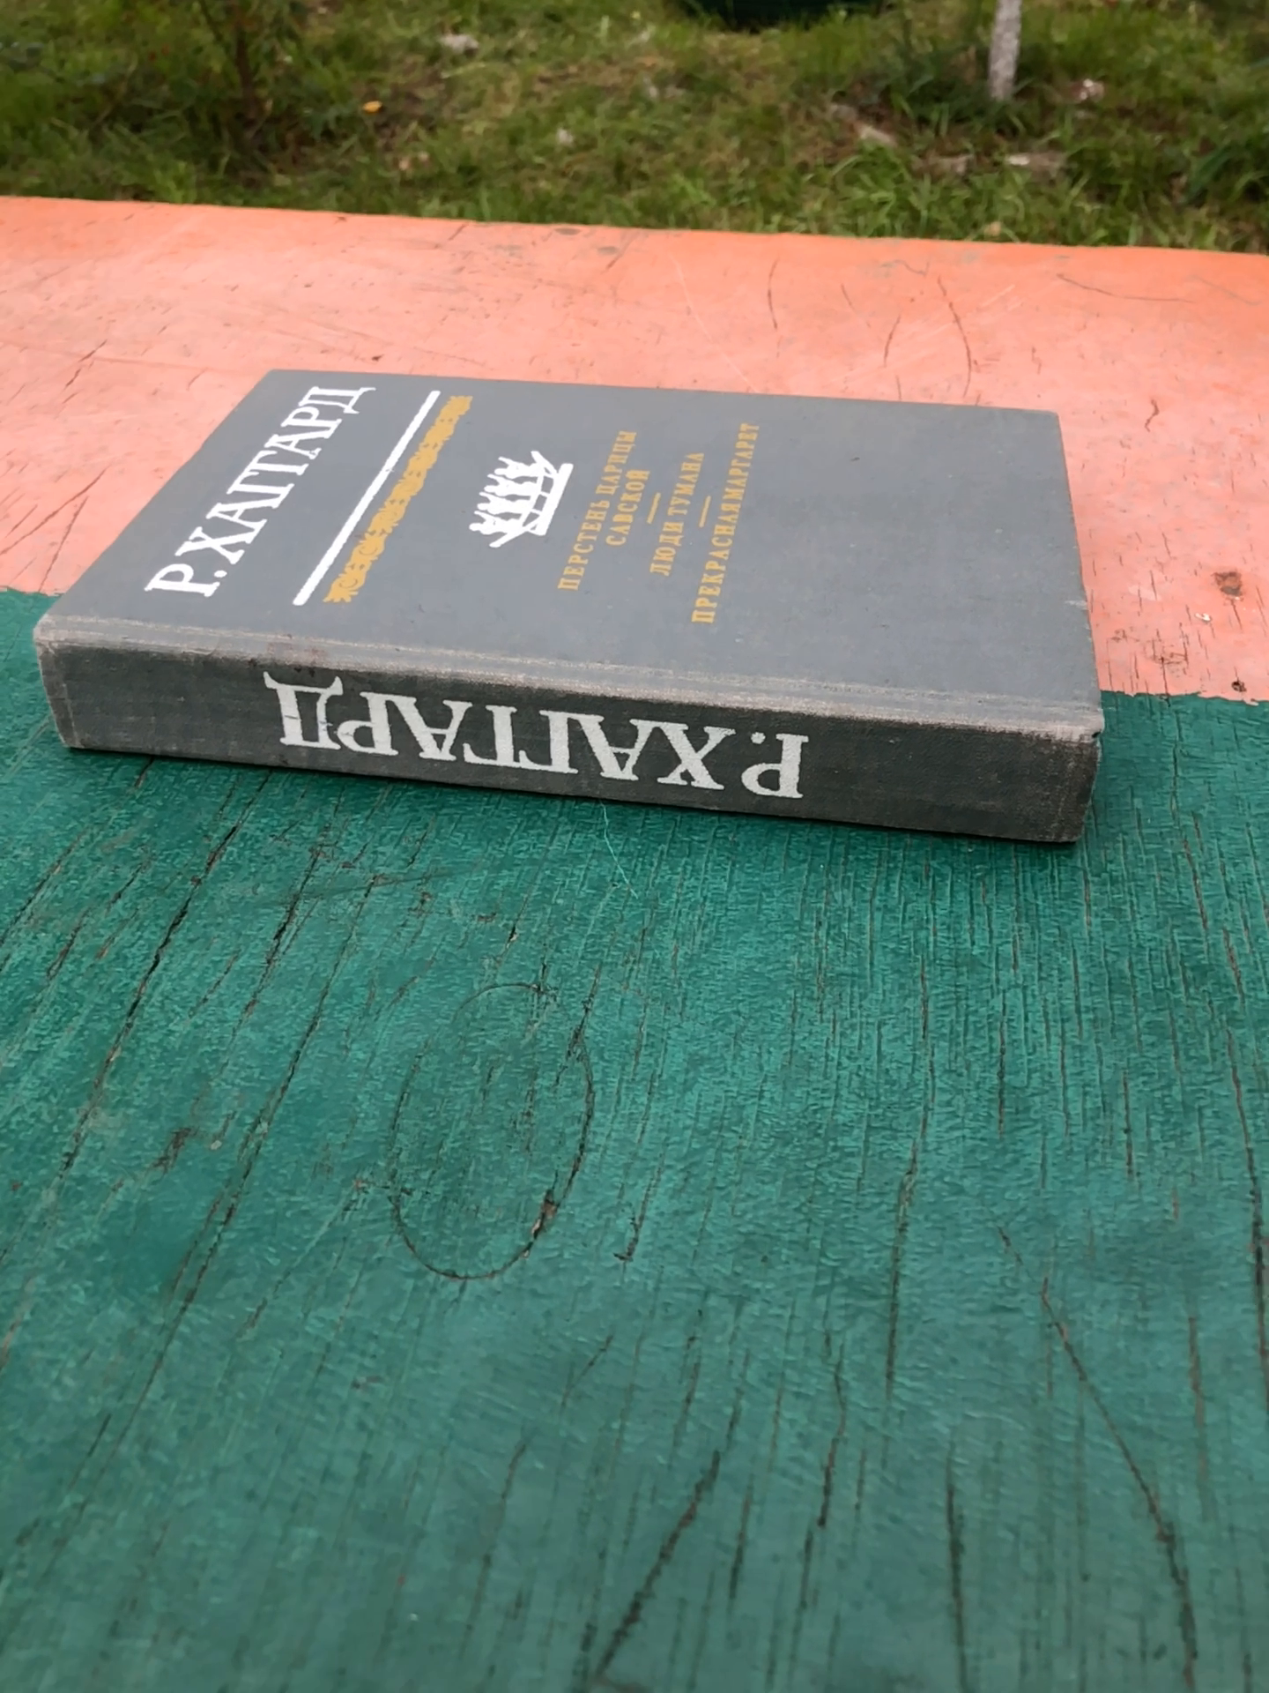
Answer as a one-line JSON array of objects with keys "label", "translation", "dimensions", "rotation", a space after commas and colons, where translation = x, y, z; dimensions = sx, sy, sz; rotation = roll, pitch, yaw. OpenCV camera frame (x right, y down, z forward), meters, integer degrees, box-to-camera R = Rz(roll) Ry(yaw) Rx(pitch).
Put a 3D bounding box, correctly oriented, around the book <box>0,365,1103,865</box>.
[{"label": "book", "translation": [-0.011, -0.067, 0.338], "dimensions": [0.221, 0.030, 0.151], "rotation": [6, 40, 8]}]
